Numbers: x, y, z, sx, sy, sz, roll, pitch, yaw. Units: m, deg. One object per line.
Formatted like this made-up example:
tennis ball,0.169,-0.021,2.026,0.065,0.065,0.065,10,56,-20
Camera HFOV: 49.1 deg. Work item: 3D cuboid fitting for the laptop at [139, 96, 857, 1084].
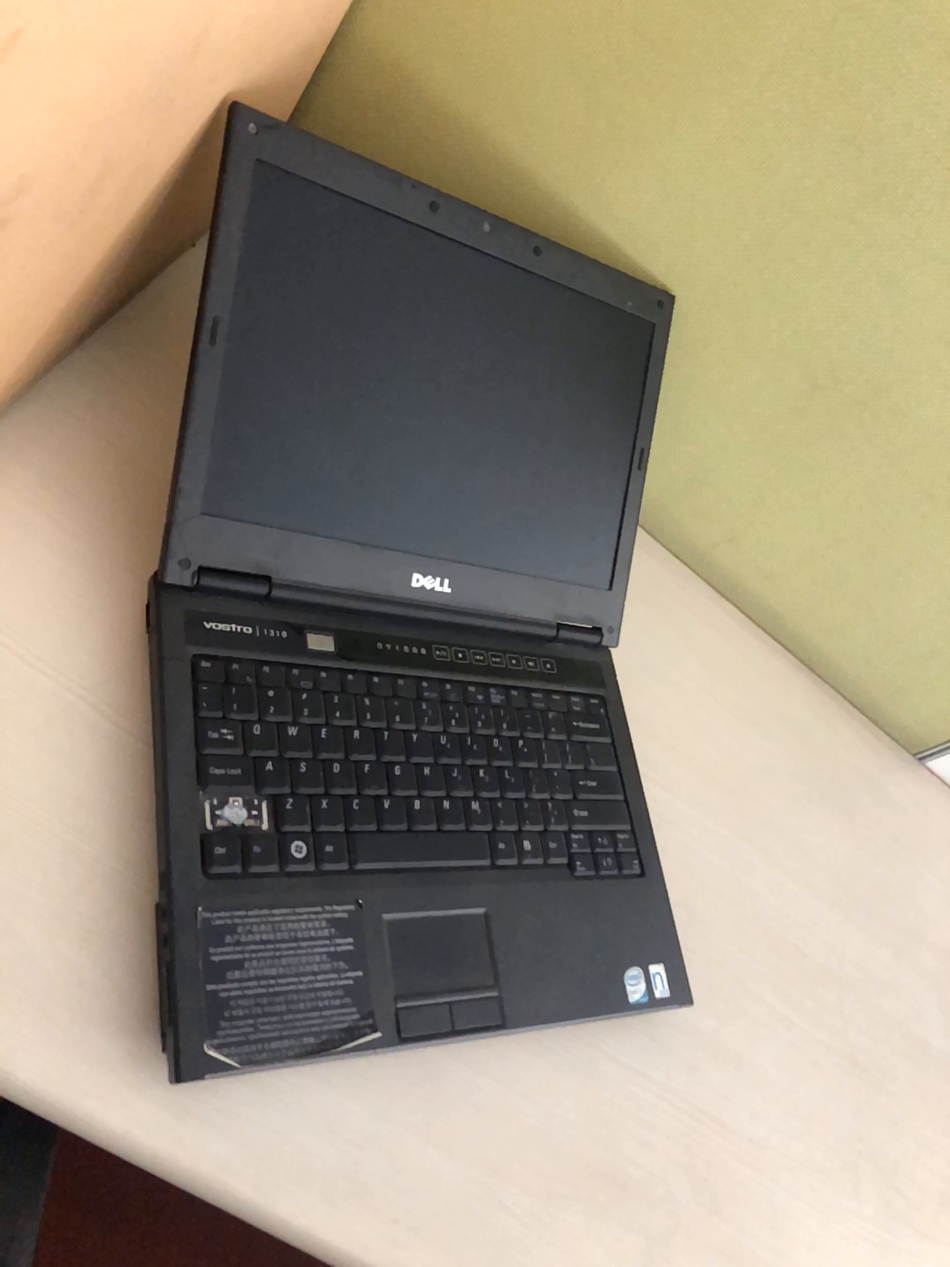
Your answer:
laptop,0.000,-0.025,0.557,0.307,0.125,0.431,7,62,-37
